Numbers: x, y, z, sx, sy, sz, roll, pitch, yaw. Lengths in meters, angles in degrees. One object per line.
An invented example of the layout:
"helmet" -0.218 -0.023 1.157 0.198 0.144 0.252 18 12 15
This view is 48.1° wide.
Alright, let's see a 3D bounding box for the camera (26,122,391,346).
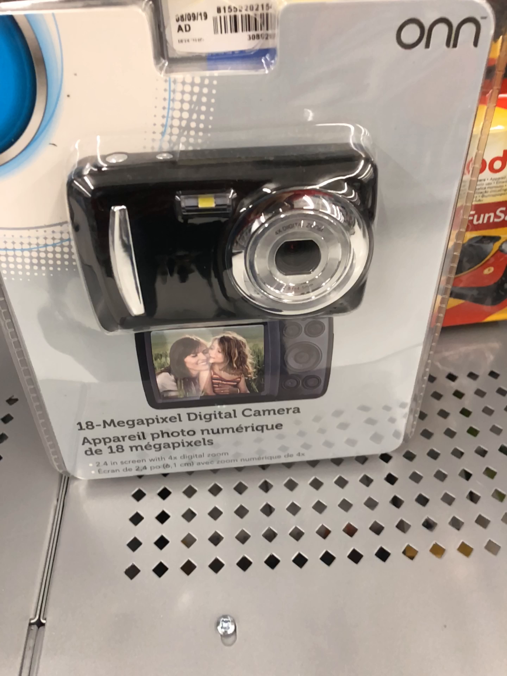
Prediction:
"camera" -0.012 -0.033 0.186 0.100 0.060 0.030 -4 41 -2
